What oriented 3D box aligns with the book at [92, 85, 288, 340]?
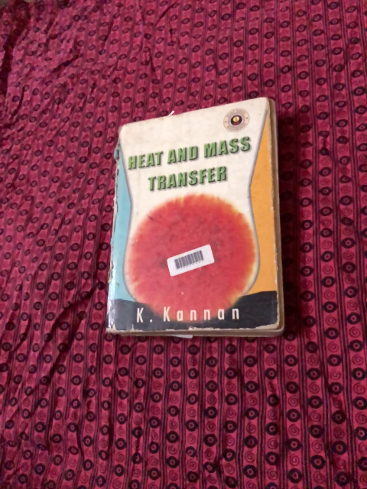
[{"bbox_3d":[0.008,-0.031,0.427,0.185,0.039,0.250,-4,71,20],"label":"book"}]
